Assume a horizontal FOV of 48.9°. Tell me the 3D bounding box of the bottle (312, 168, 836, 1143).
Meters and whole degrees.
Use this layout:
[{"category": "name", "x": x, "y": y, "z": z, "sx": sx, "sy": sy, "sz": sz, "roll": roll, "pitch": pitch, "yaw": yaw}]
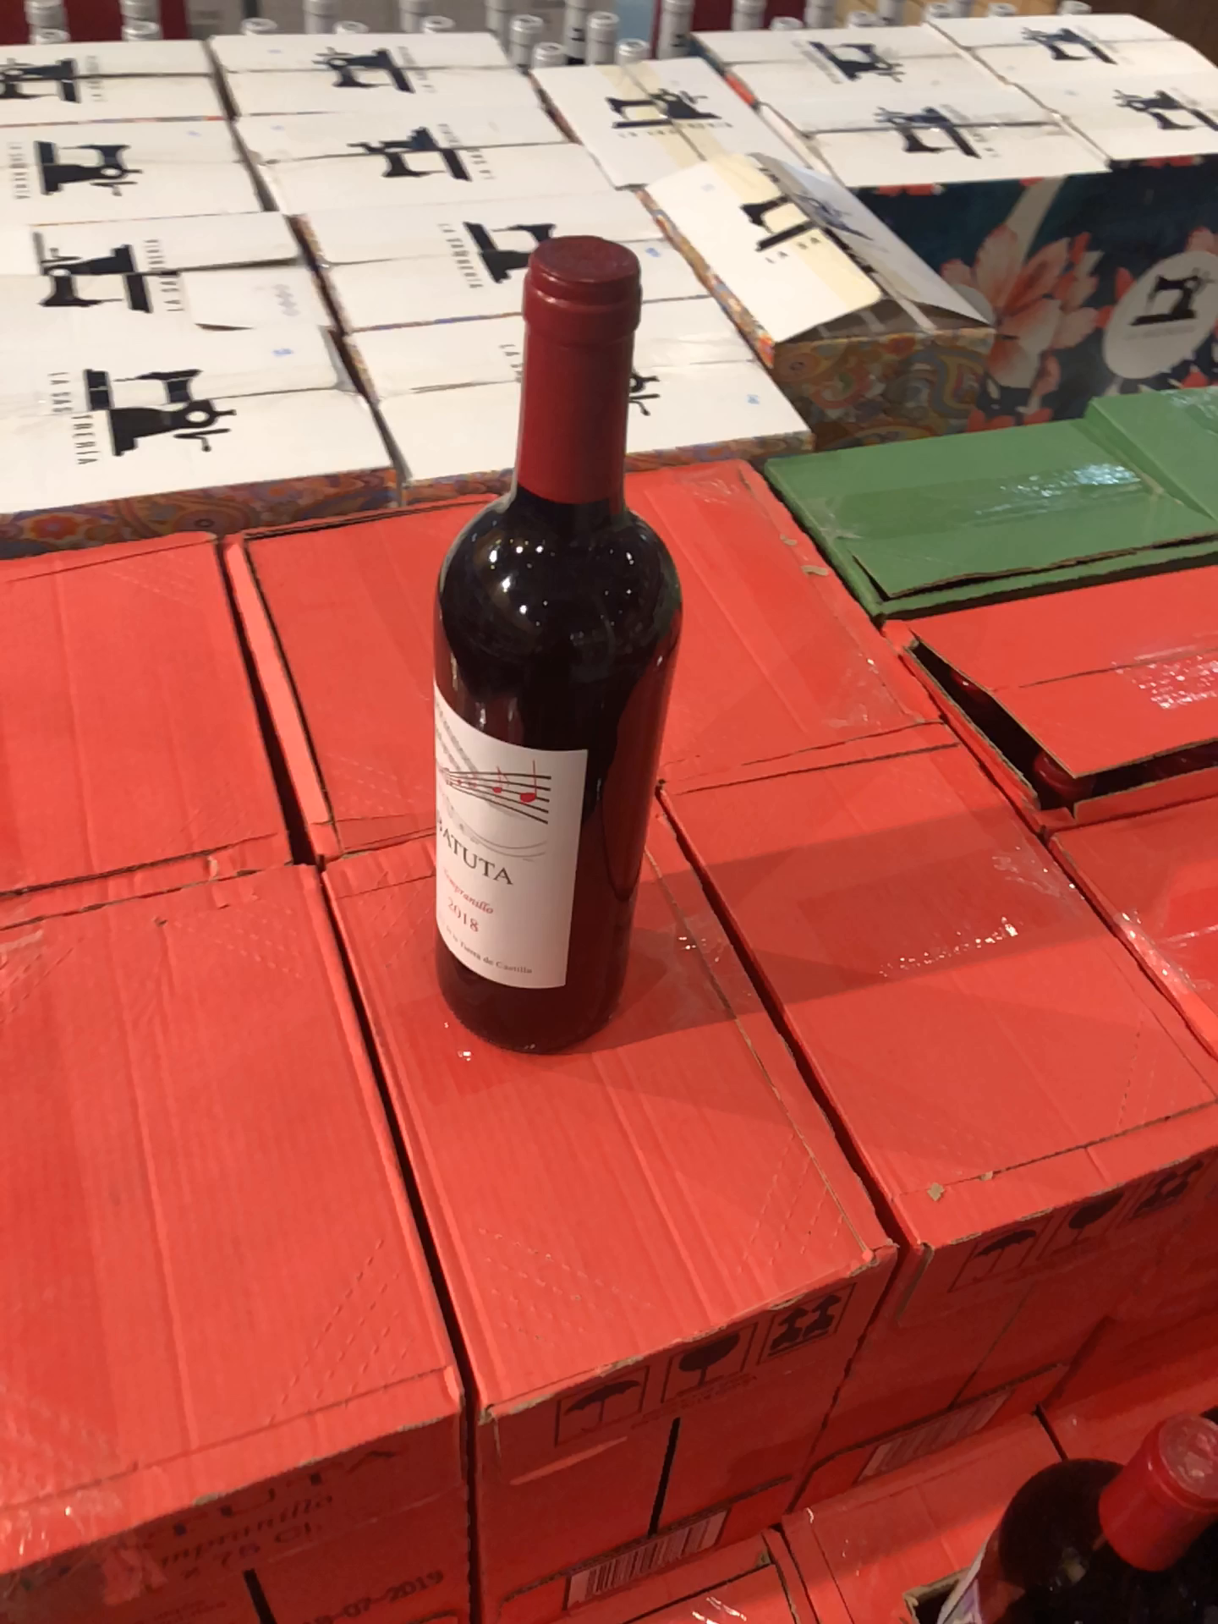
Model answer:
[{"category": "bottle", "x": -0.017, "y": -0.025, "z": 0.411, "sx": 0.090, "sy": 0.287, "sz": 0.080, "roll": 32, "pitch": 52, "yaw": 23}]
